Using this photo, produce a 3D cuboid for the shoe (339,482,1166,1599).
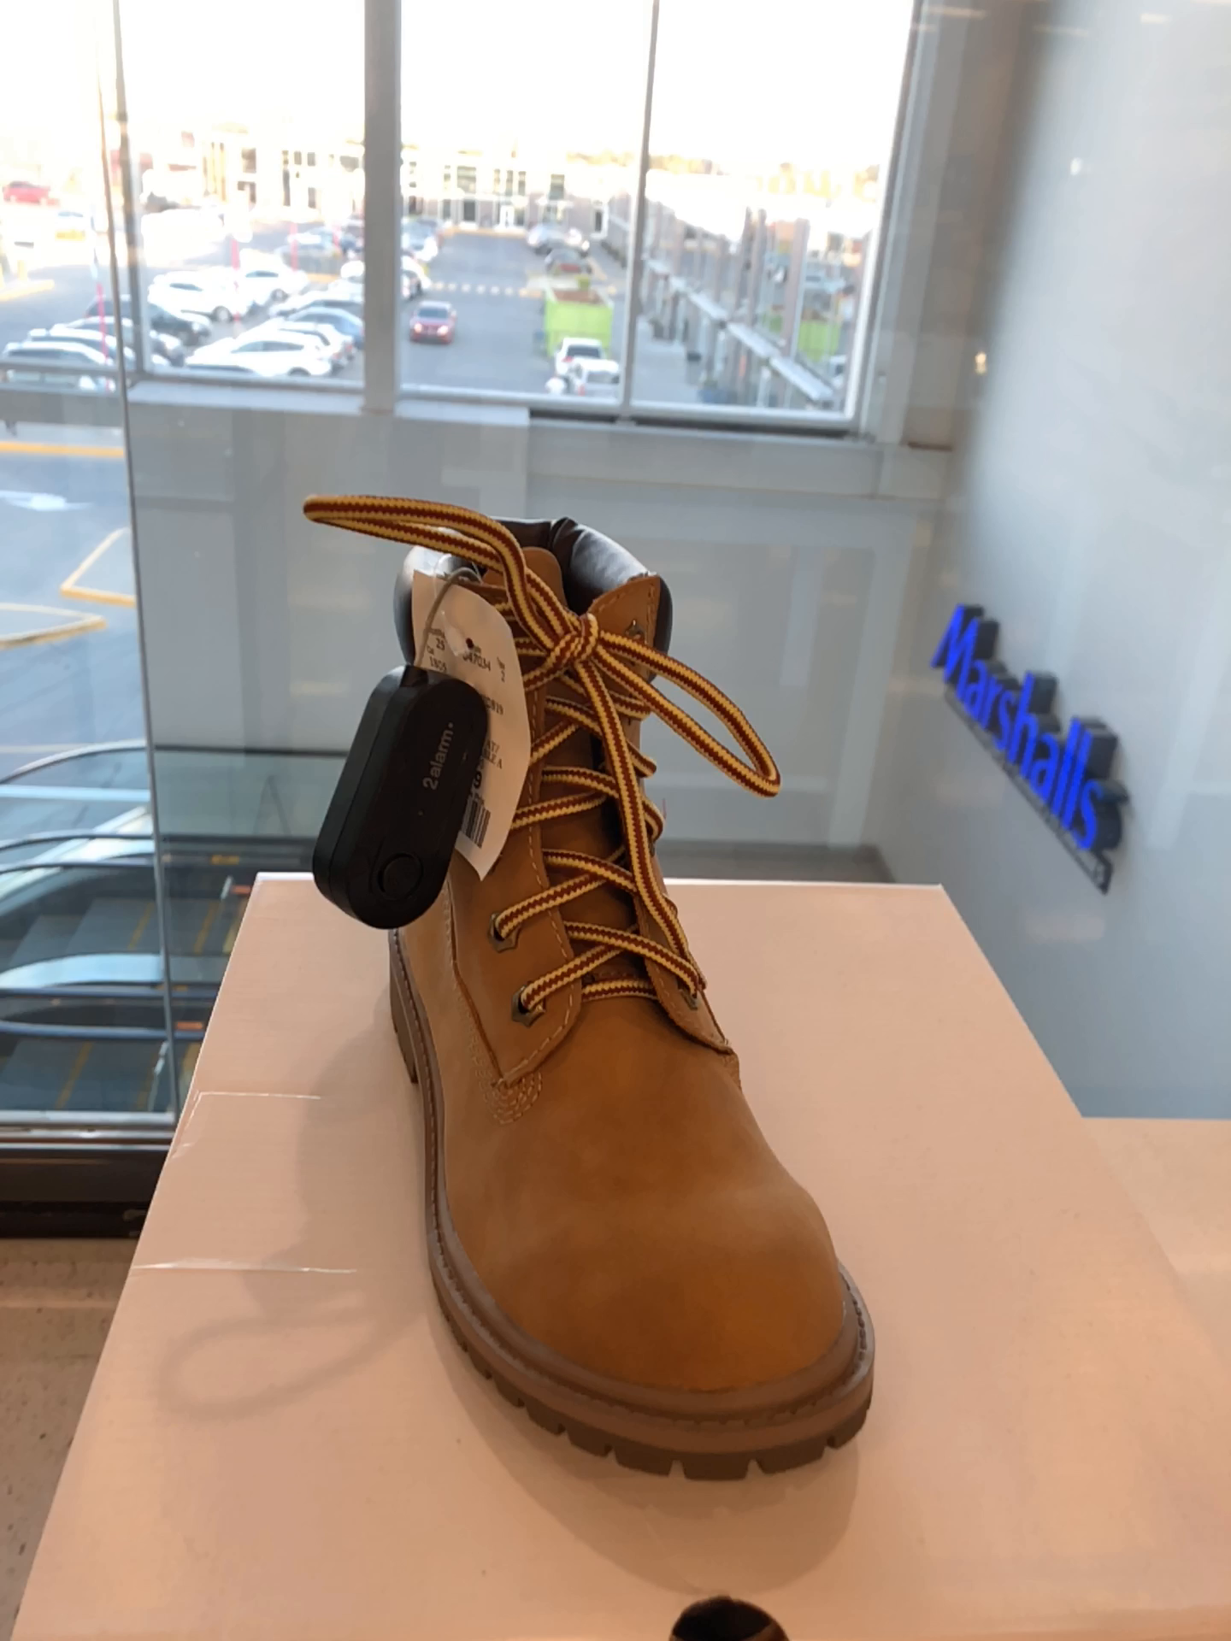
[{"bbox_3d":[0.000,0.024,0.356,0.107,0.169,0.242,-4,27,-19],"label":"shoe"}]
